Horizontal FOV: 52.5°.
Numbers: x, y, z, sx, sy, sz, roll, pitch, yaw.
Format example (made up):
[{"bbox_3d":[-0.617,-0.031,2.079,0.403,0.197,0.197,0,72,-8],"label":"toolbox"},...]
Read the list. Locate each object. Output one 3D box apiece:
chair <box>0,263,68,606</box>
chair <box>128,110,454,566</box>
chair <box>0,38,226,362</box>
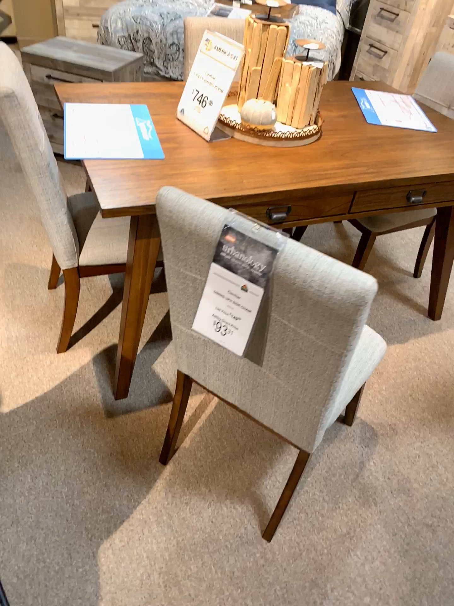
[{"bbox_3d":[-0.683,0.464,0.772,0.568,0.793,0.495,-22,50,-31],"label":"chair"},{"bbox_3d":[0.156,0.095,1.221,0.485,0.912,0.629,30,46,23],"label":"chair"},{"bbox_3d":[-0.415,-0.353,1.624,0.598,0.912,0.516,-12,45,-20],"label":"chair"}]
